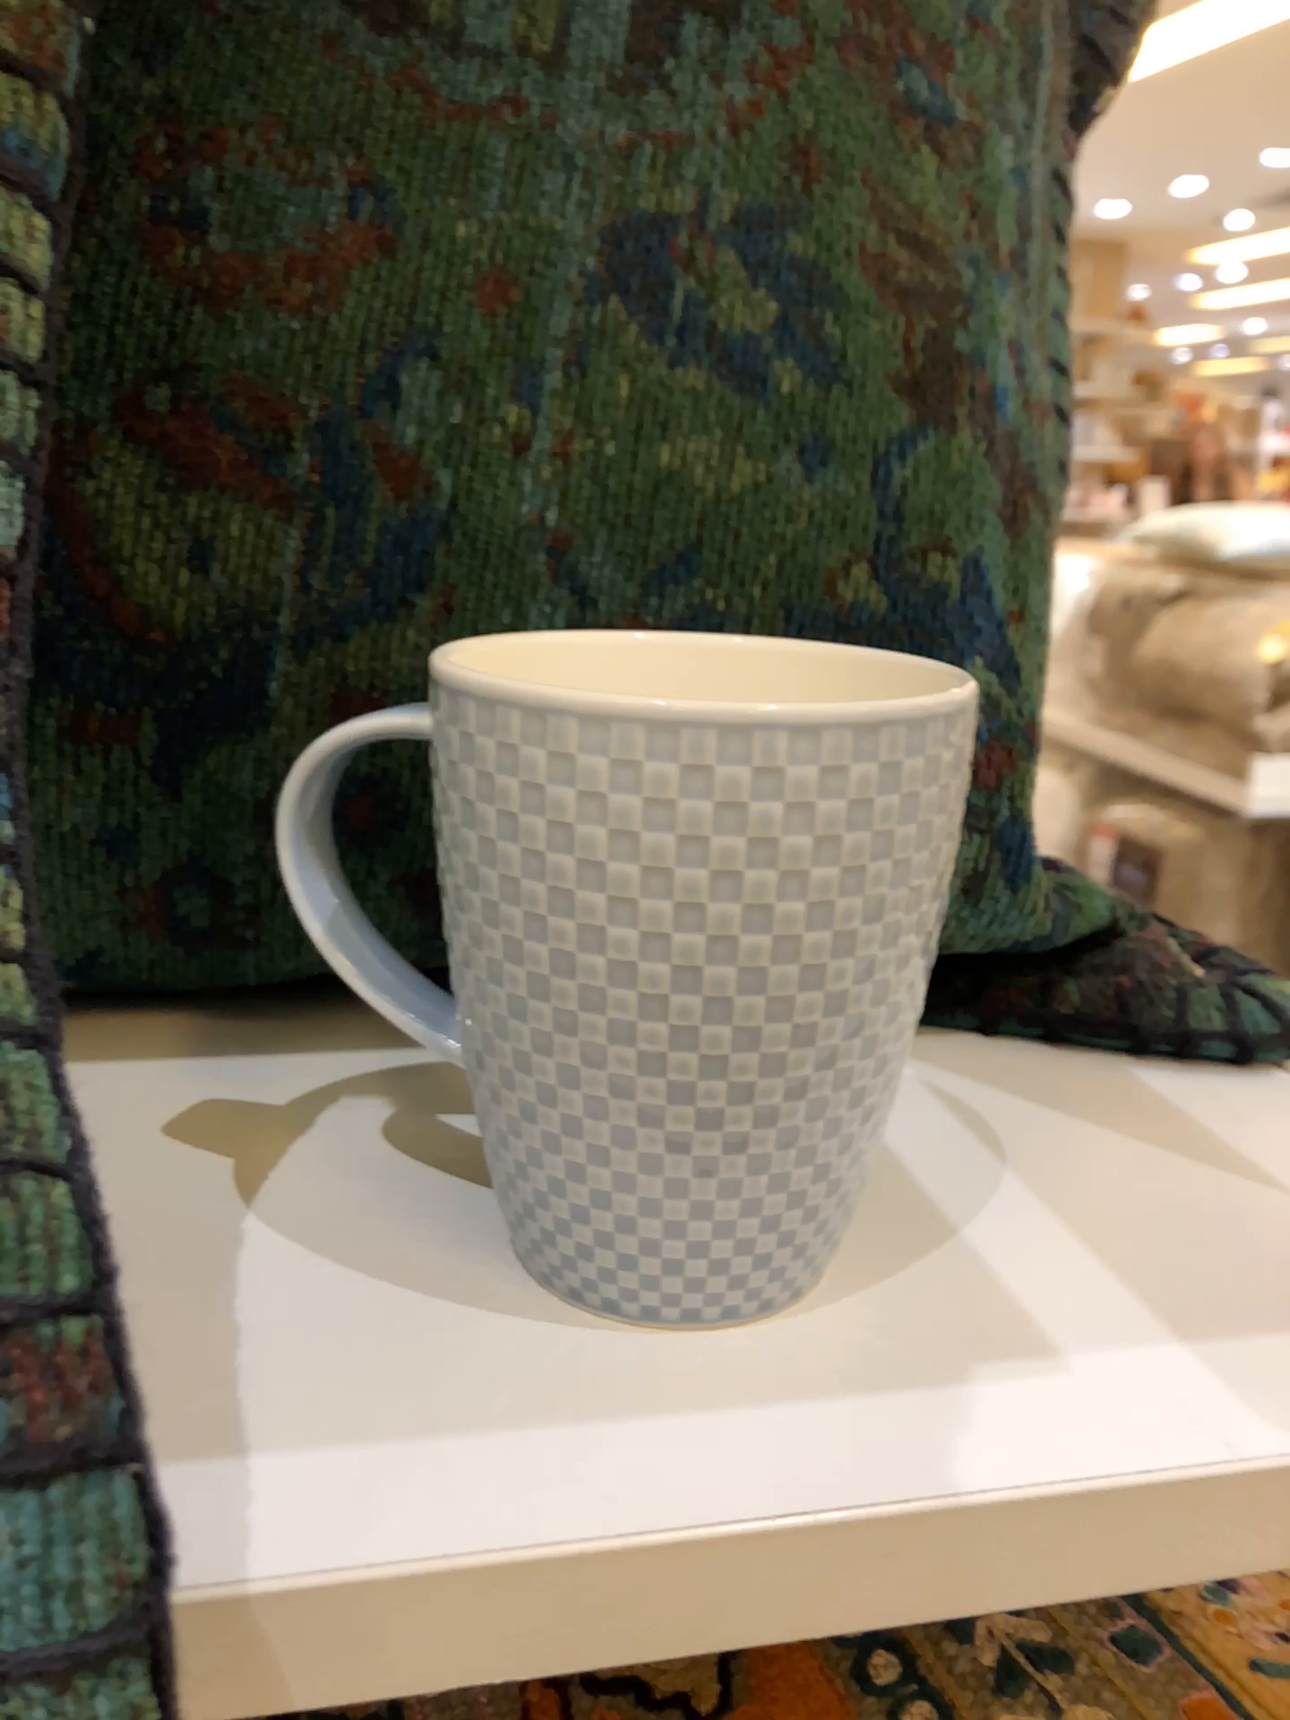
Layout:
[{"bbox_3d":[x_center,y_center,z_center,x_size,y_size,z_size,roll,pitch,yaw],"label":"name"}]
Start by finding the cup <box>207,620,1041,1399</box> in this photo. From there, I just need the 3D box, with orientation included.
[{"bbox_3d":[0.004,0.011,0.221,0.100,0.080,0.090,6,15,15],"label":"cup"}]
